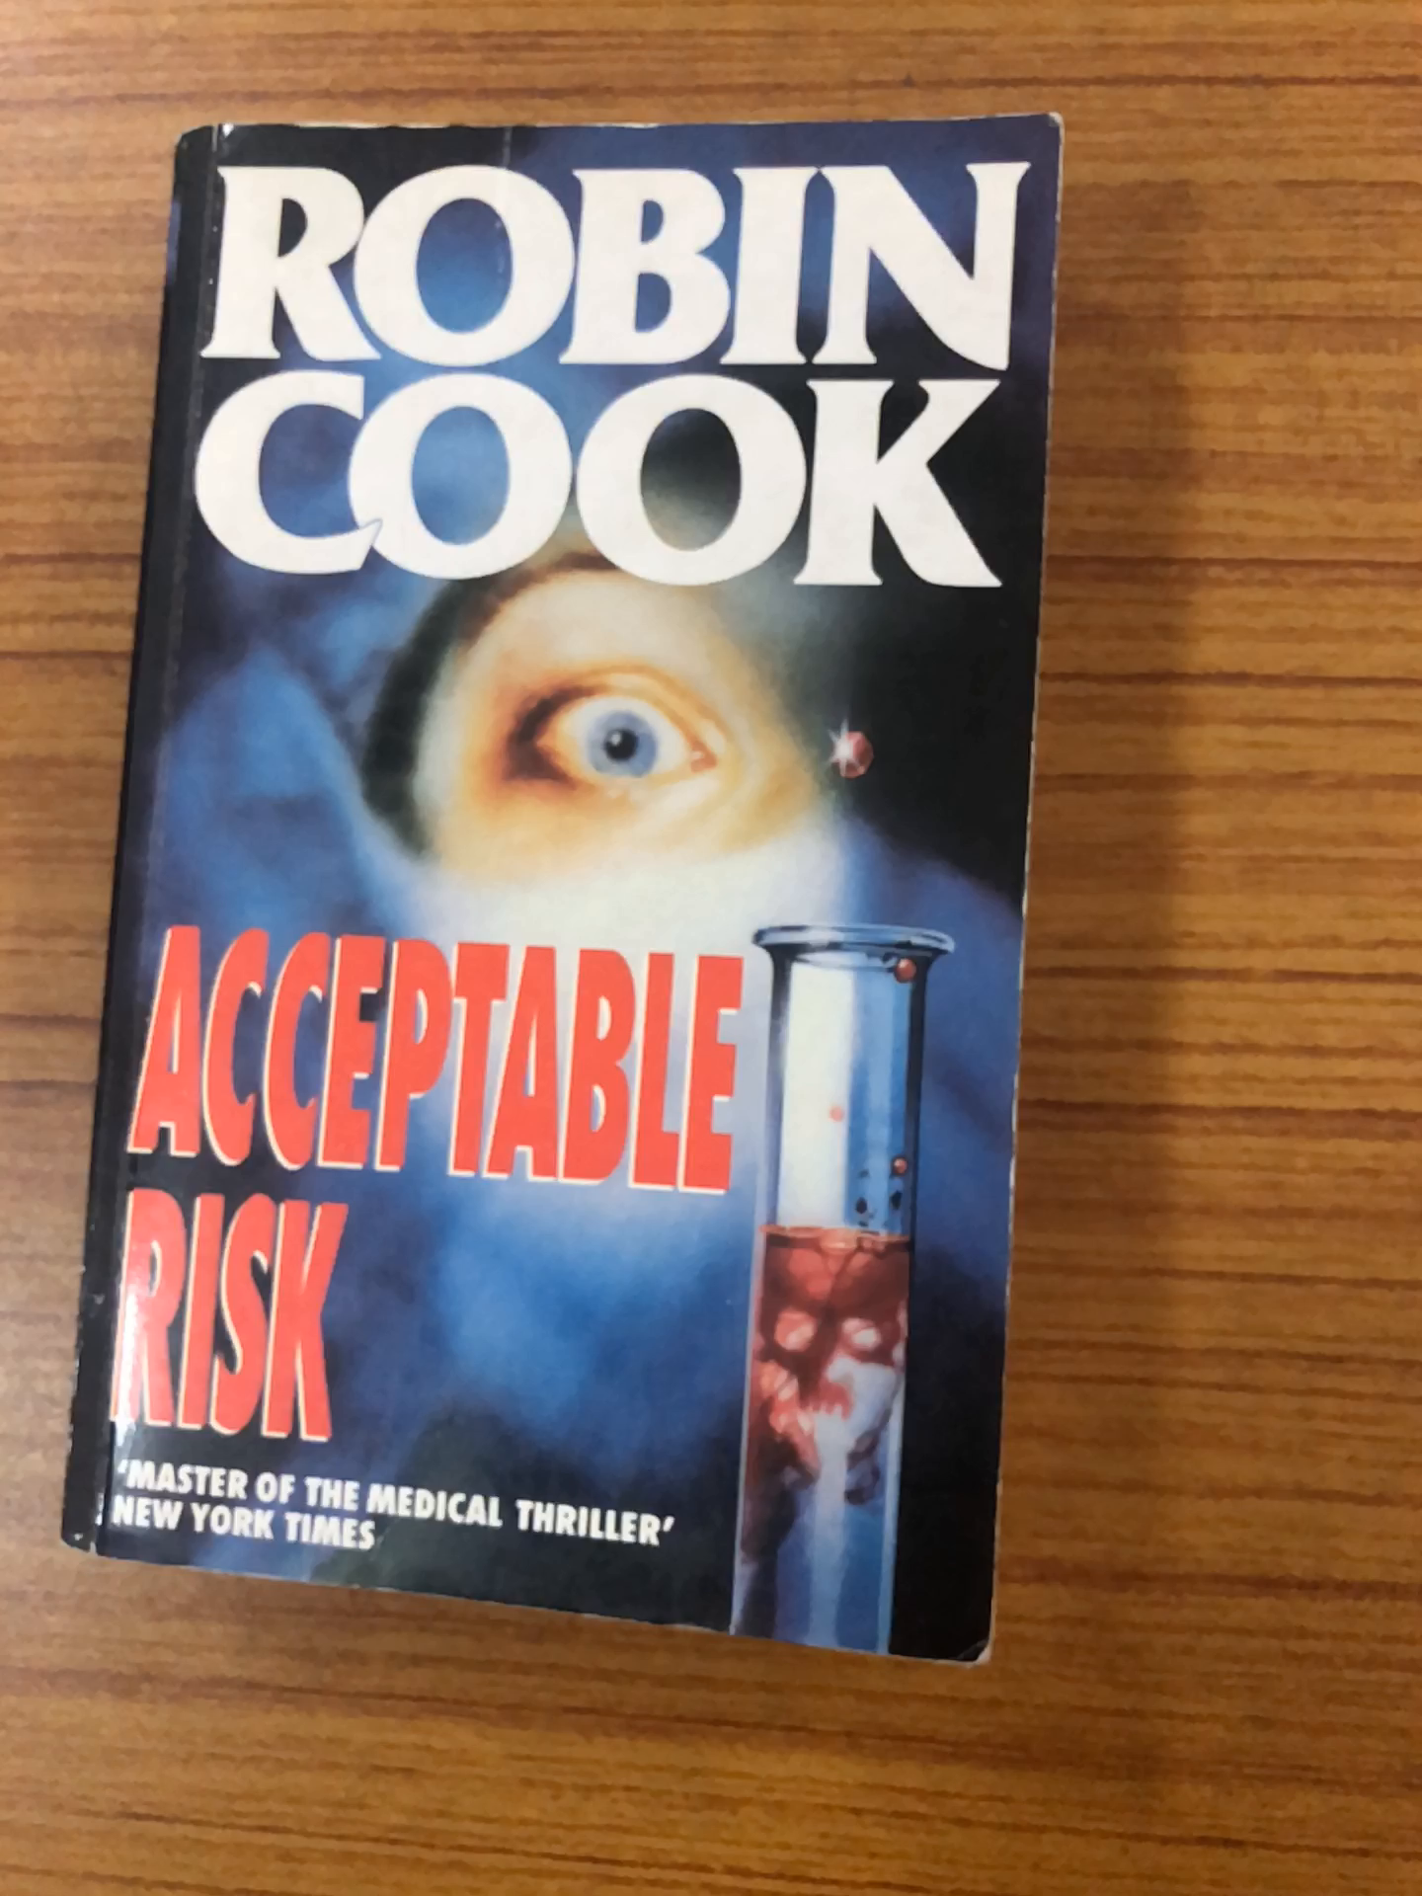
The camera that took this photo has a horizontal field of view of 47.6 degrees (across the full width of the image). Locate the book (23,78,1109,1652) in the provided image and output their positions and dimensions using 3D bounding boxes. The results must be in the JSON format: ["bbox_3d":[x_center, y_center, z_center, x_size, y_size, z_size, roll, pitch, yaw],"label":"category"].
[{"bbox_3d":[-0.014,-0.013,0.199,0.110,0.040,0.170,4,87,6],"label":"book"}]
